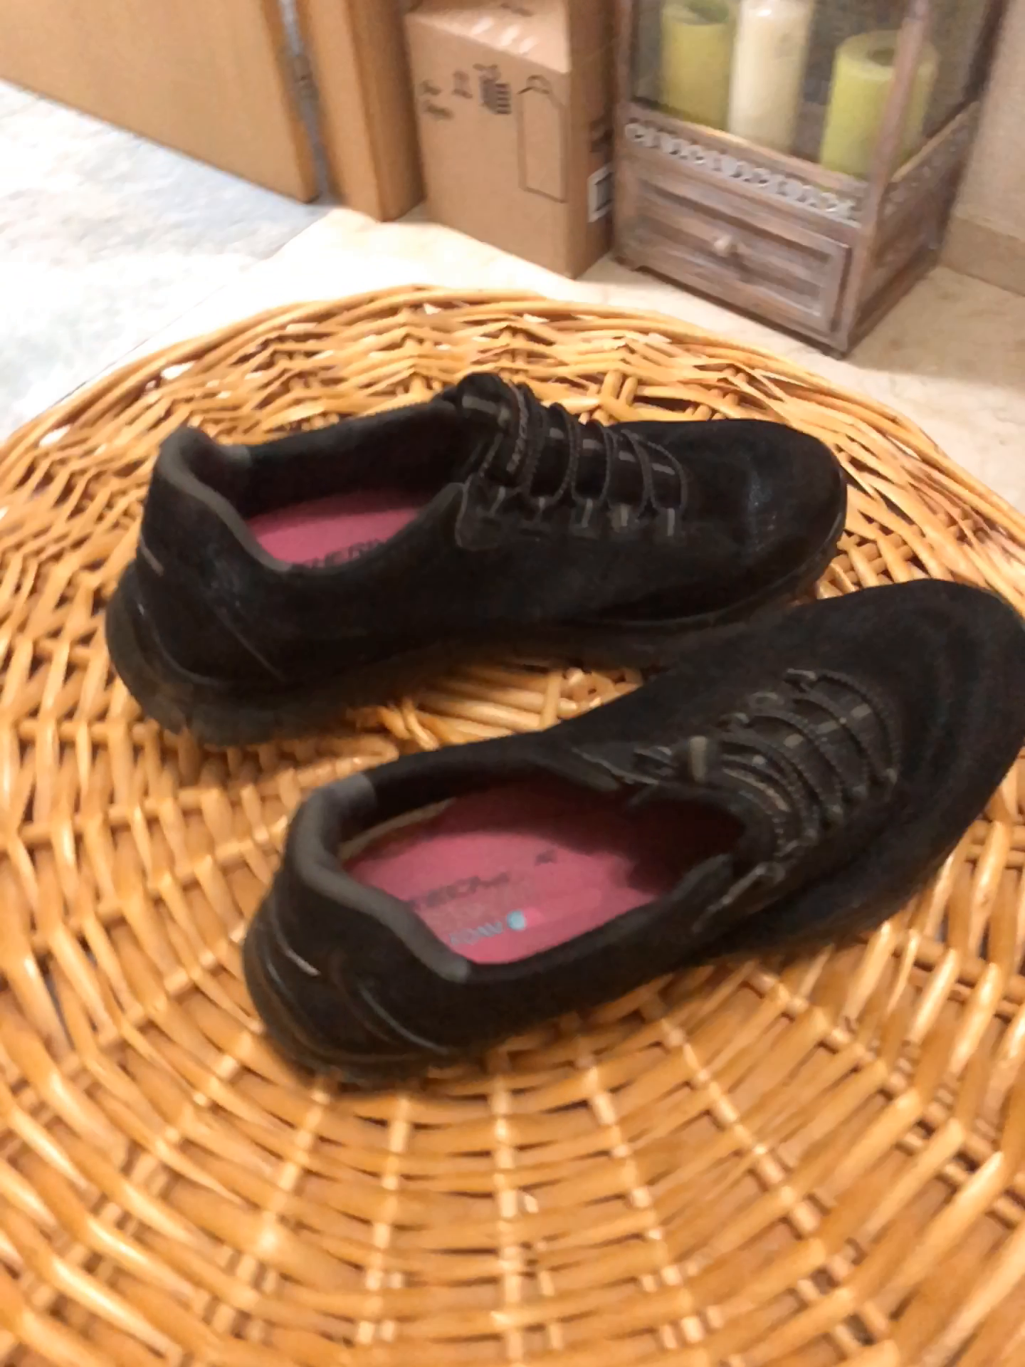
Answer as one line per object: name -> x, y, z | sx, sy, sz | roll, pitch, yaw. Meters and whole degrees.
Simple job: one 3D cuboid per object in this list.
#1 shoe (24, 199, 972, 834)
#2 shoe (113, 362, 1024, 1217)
shoe -> -0.007, -0.061, 0.376 | 0.264, 0.079, 0.118 | -18, 56, -9
shoe -> 0.044, 0.019, 0.321 | 0.264, 0.079, 0.118 | -25, 57, -13
